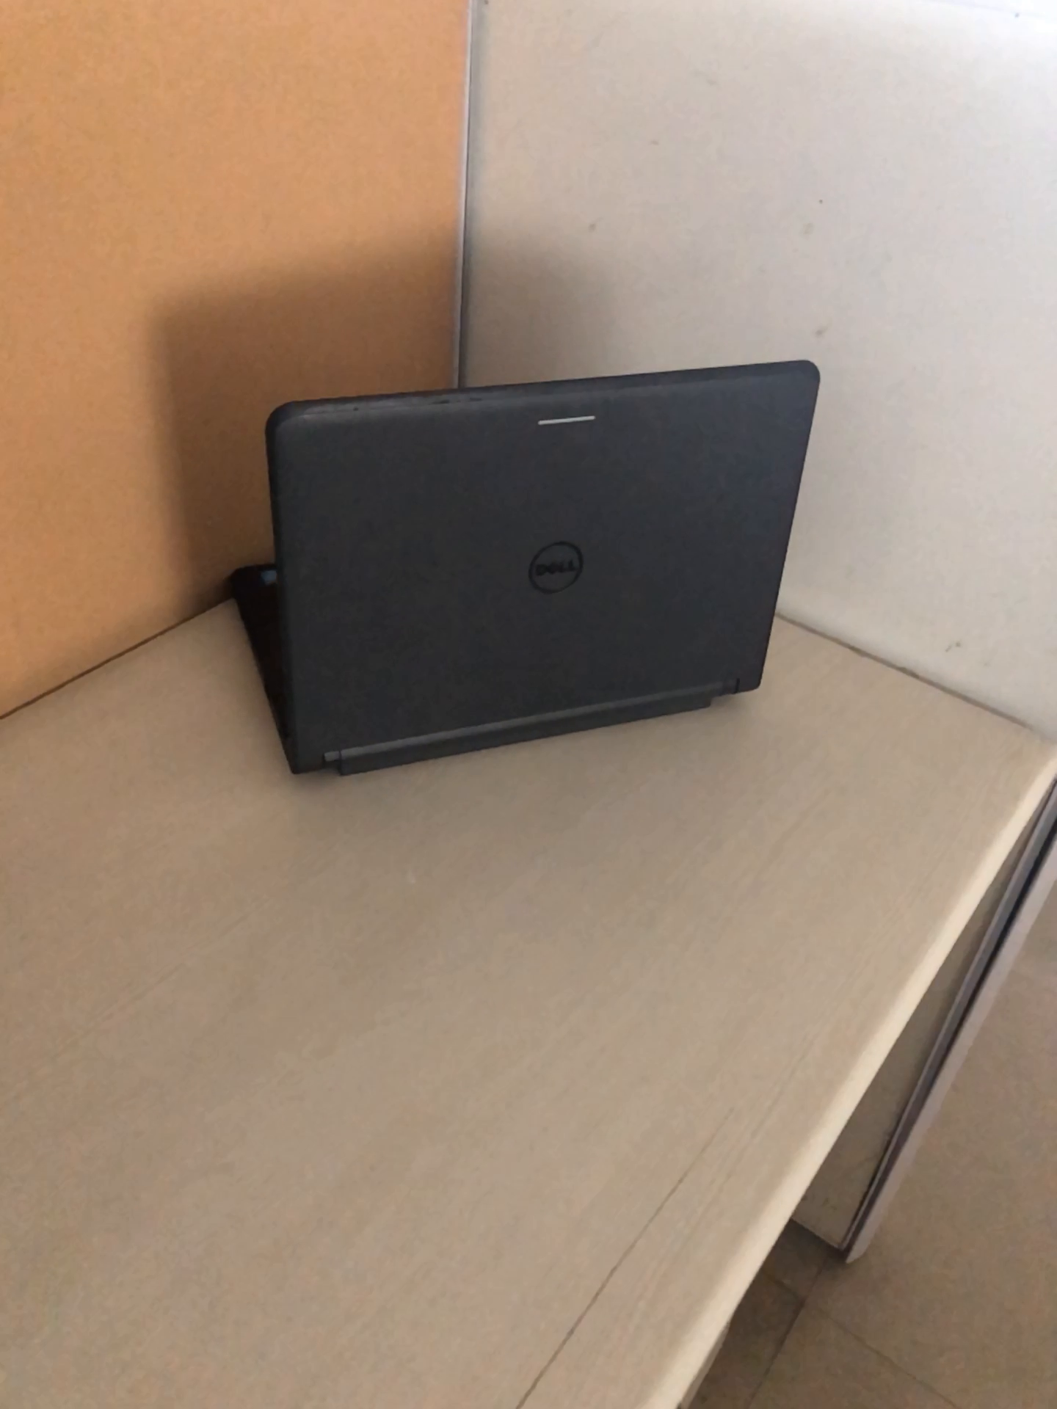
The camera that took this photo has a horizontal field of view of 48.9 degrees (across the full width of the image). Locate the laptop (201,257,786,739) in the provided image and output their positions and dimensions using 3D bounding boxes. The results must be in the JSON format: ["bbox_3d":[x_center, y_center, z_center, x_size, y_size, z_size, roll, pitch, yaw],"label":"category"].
[{"bbox_3d":[-0.036,-0.150,0.771,0.304,0.211,0.215,-10,39,-19],"label":"laptop"}]
